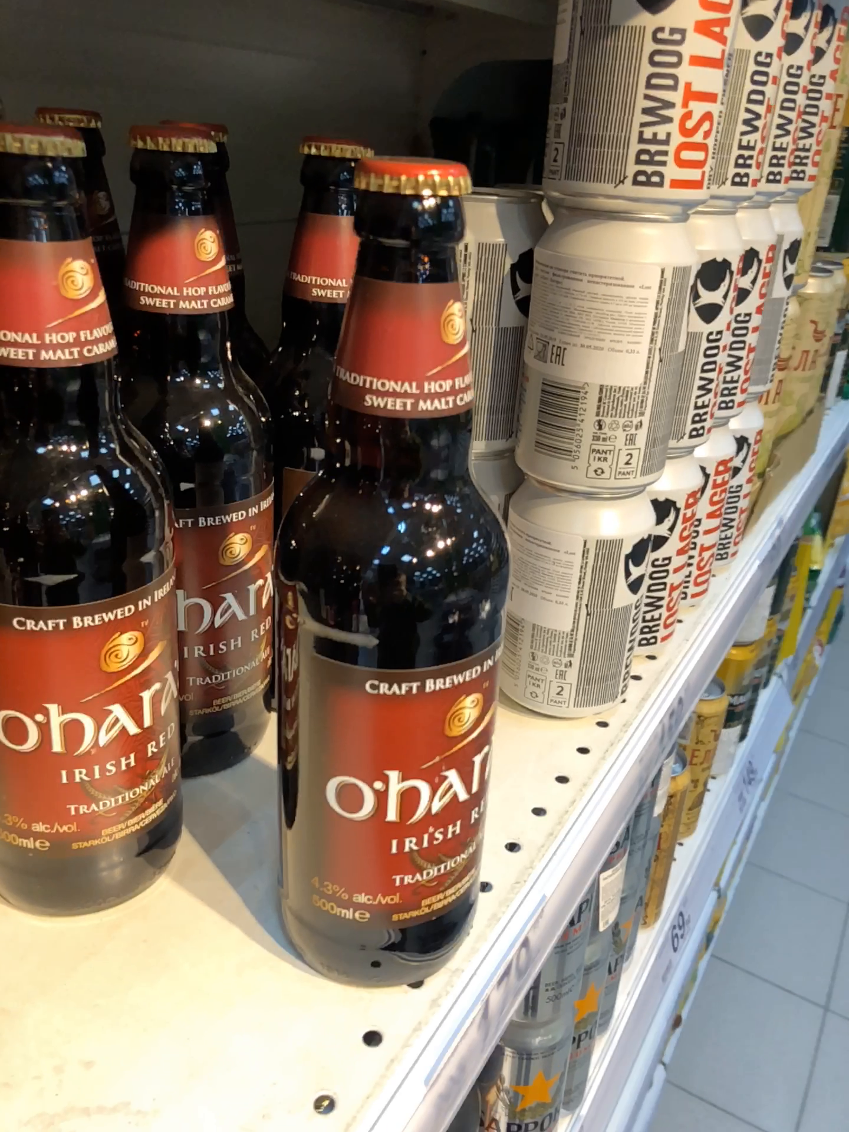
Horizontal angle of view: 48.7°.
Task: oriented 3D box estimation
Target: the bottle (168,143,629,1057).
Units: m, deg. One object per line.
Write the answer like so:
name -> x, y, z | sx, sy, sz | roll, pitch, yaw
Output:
bottle -> -0.016, 0.012, 0.282 | 0.080, 0.246, 0.080 | 4, 25, -2
